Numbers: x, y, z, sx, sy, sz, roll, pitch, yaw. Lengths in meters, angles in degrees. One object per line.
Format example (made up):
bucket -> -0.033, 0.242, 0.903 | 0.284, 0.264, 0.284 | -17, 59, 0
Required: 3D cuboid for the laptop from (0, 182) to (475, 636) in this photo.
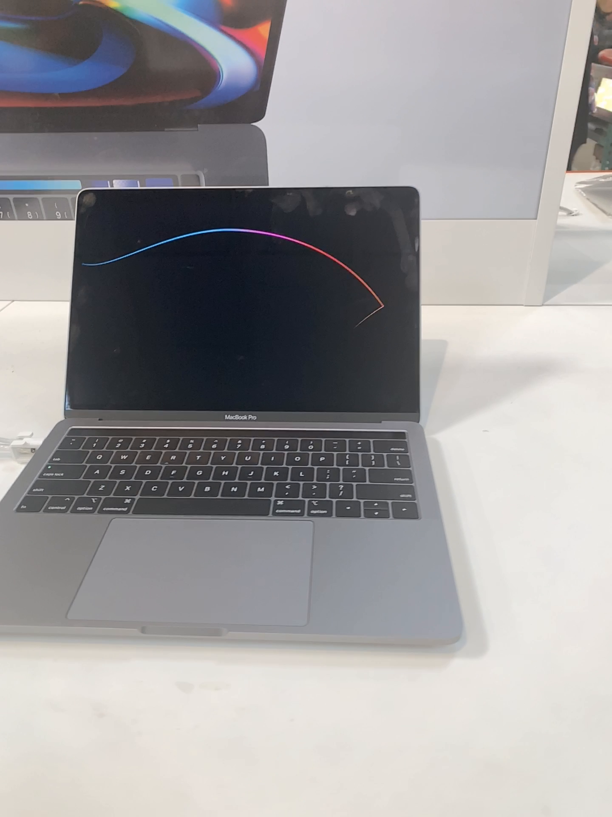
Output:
laptop -> -0.065, -0.035, 0.423 | 0.284, 0.150, 0.316 | 1, 32, 3
